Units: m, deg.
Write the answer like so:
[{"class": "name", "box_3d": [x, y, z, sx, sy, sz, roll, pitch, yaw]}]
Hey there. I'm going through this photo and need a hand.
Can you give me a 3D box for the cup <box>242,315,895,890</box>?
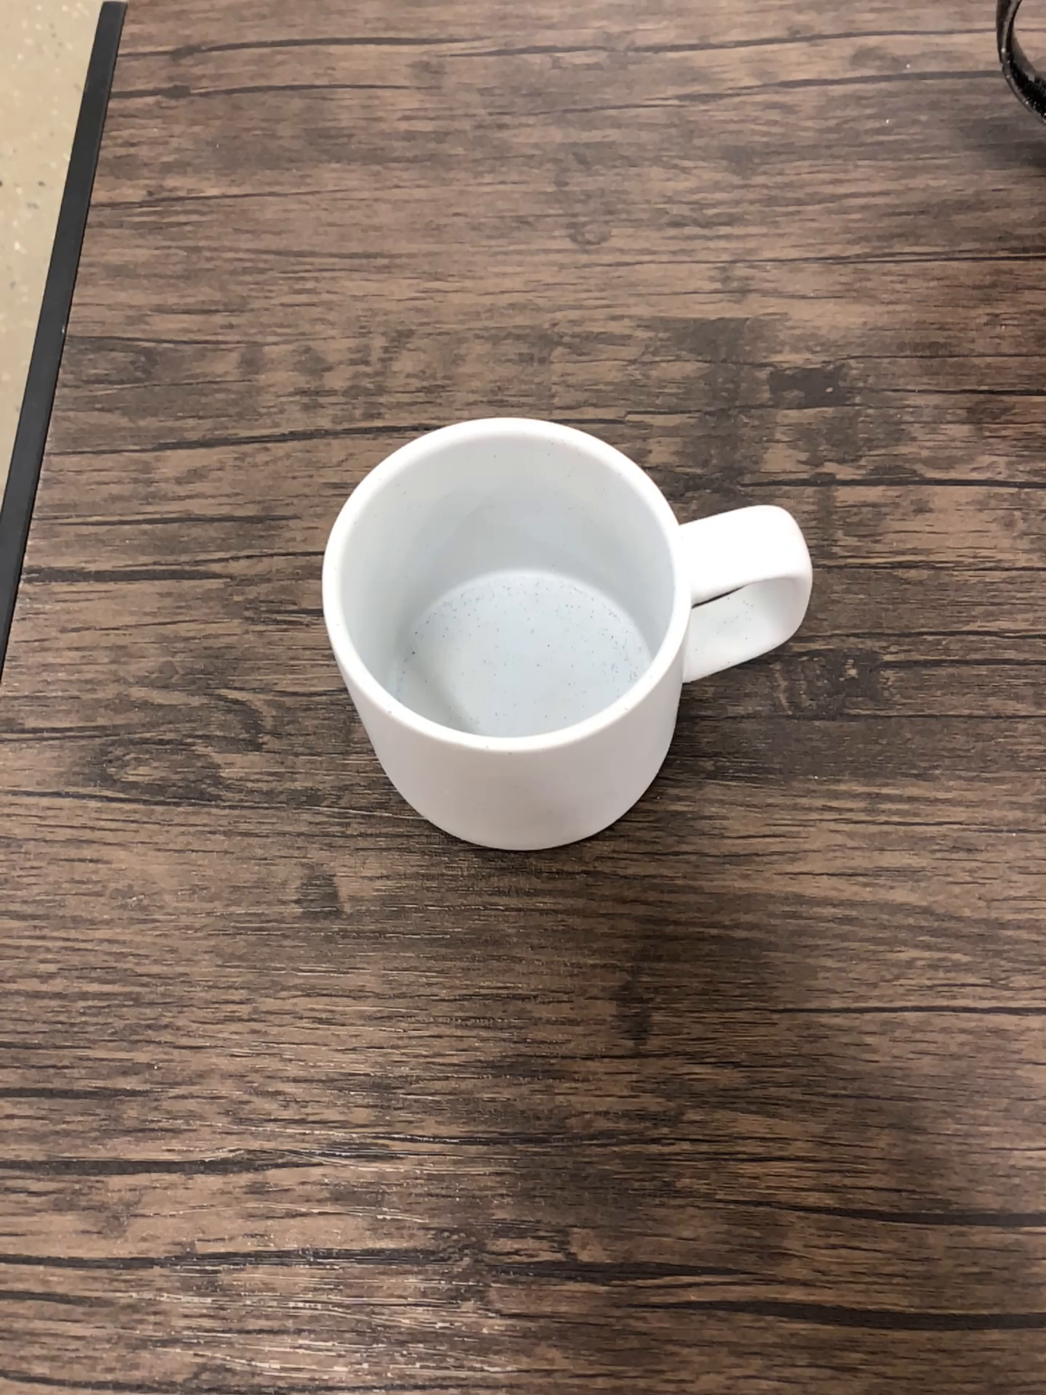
[{"class": "cup", "box_3d": [0.009, -0.019, 0.314, 0.130, 0.100, 0.090, -16, 70, -3]}]
